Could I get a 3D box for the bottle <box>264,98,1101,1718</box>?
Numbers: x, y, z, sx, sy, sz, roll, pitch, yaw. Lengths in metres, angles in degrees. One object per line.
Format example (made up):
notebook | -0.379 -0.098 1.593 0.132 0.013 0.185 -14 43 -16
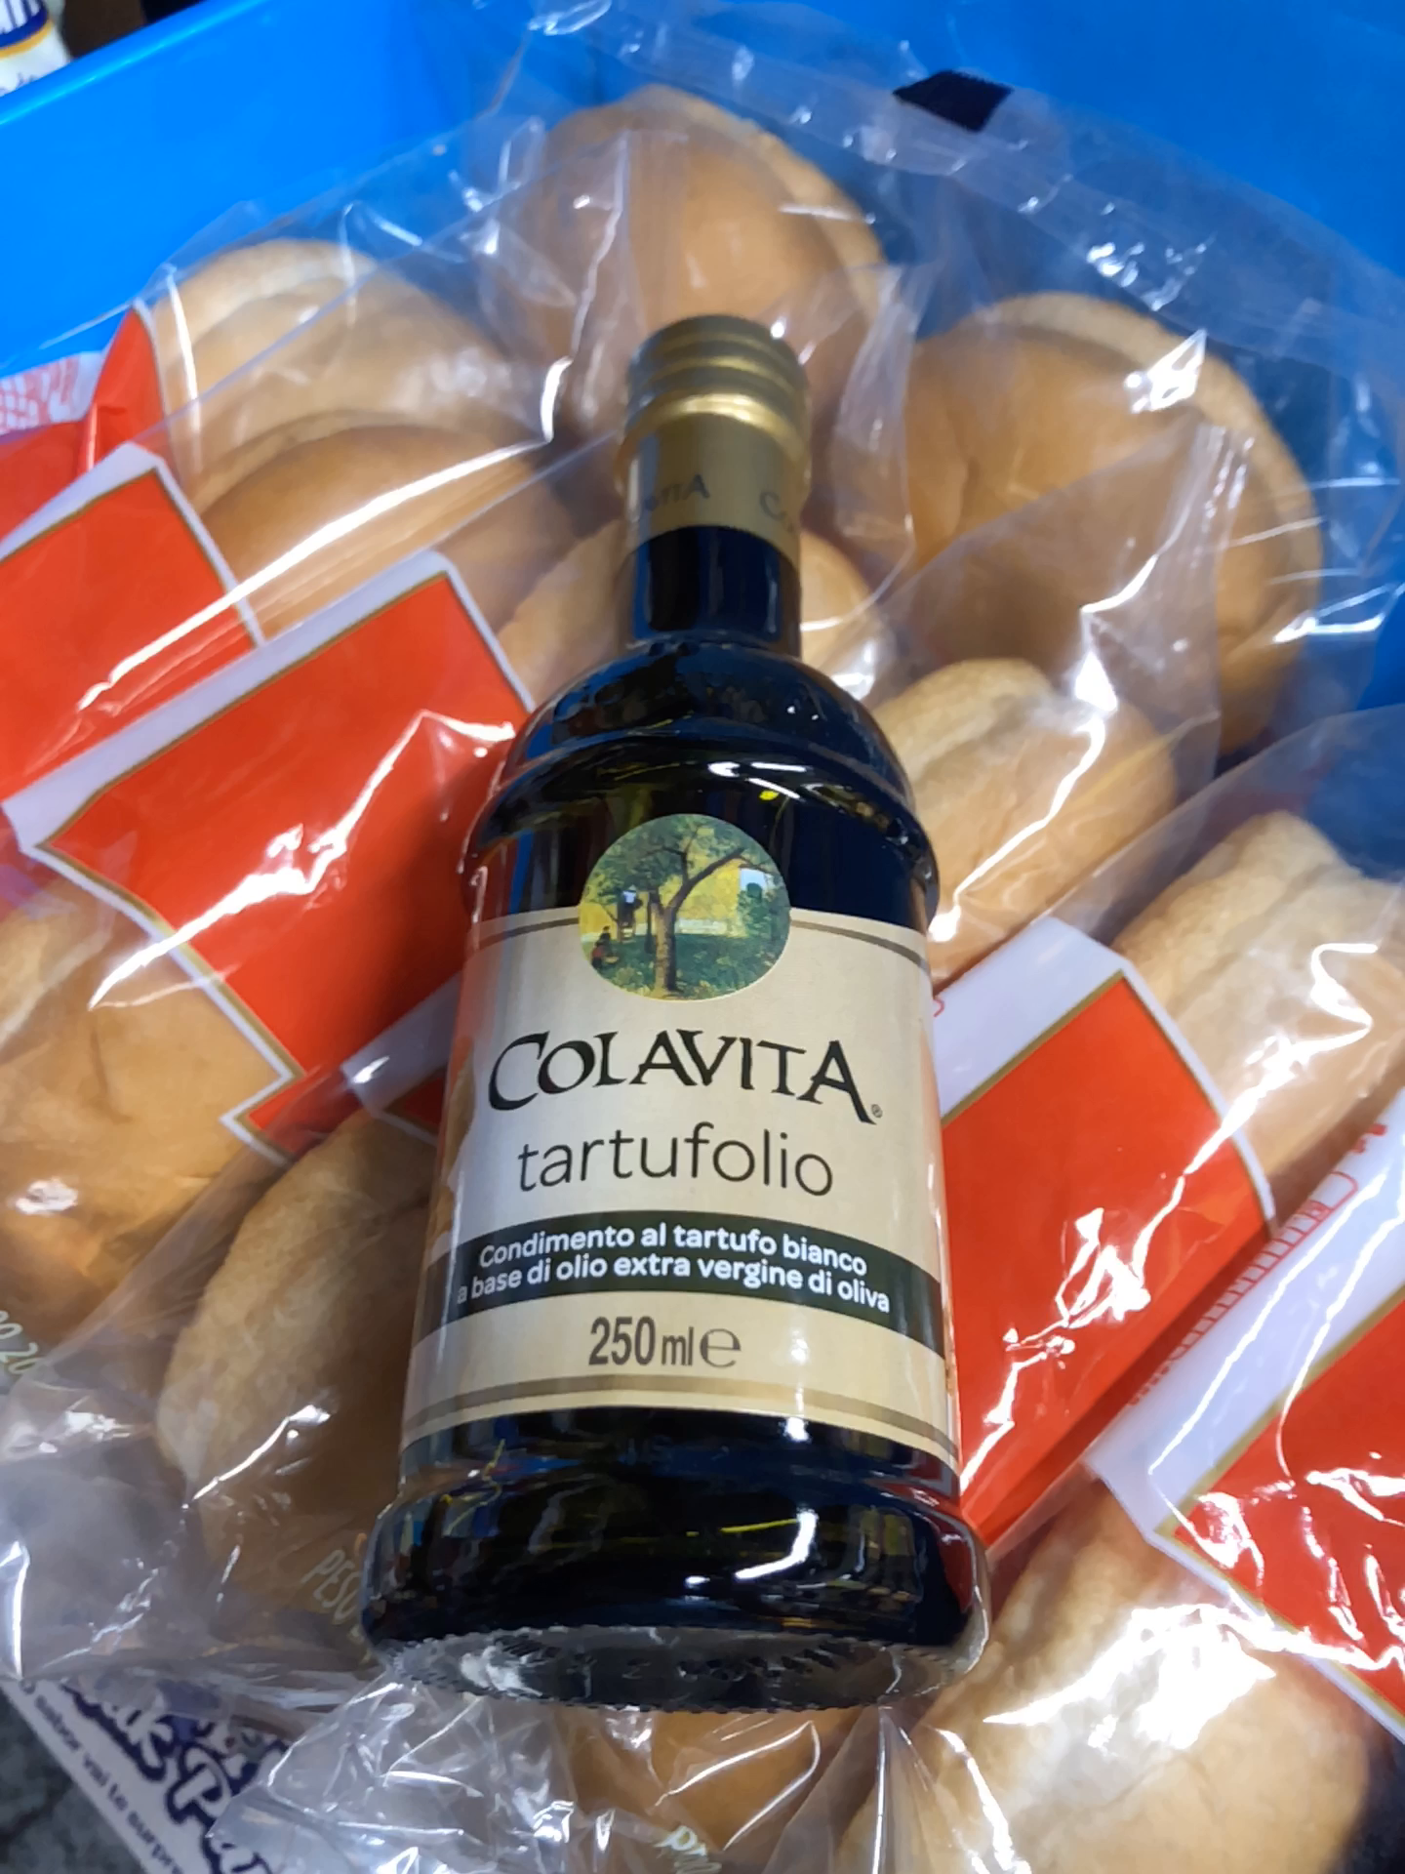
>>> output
bottle | 0.000 -0.016 0.209 0.070 0.060 0.211 -1 61 3
